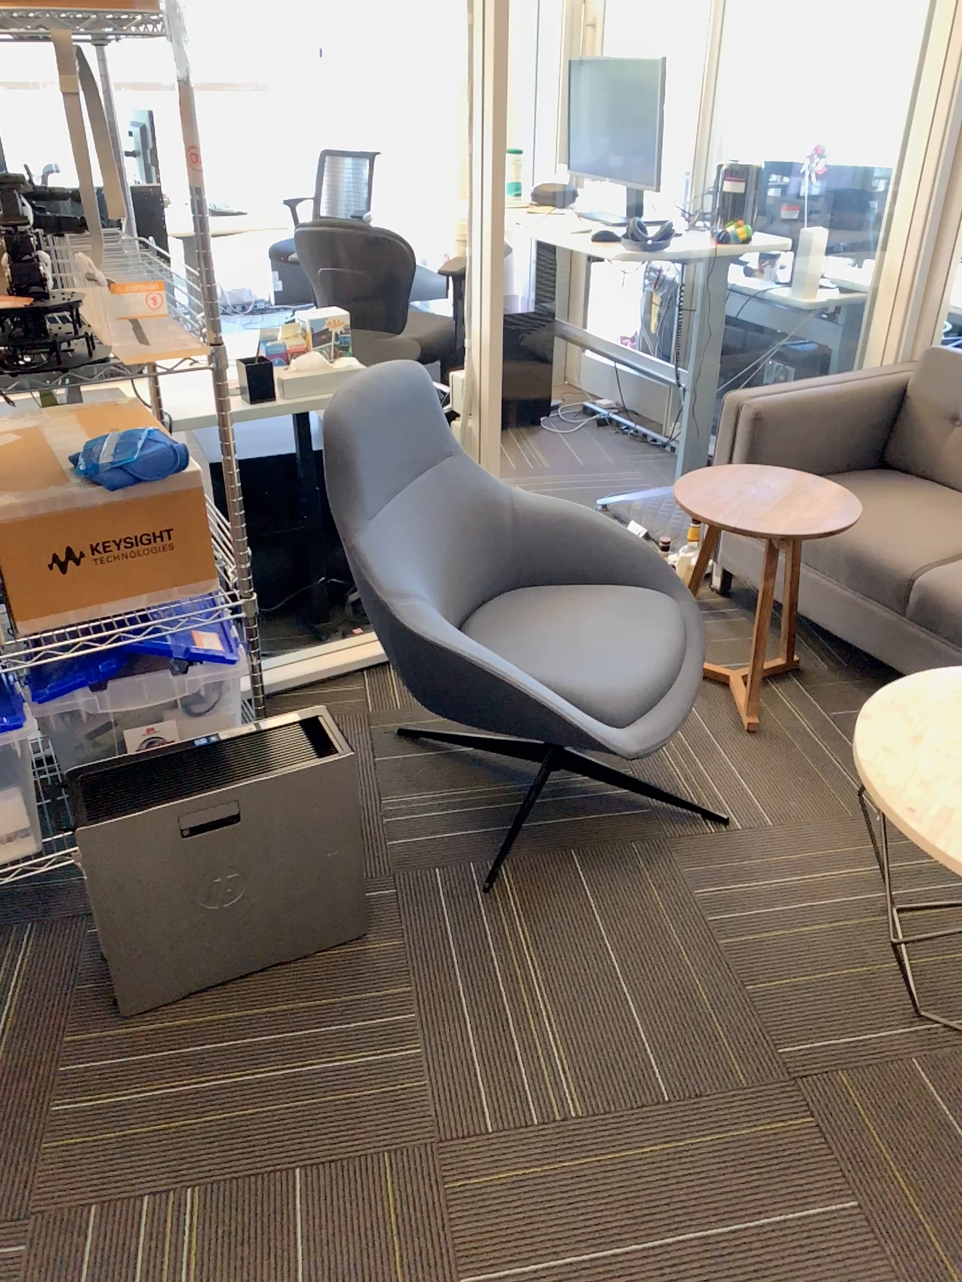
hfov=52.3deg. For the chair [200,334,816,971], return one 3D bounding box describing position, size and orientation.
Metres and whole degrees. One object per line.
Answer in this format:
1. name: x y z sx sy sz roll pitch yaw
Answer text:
1. chair: 0.099 -0.060 2.223 1.002 0.964 0.844 13 33 20
